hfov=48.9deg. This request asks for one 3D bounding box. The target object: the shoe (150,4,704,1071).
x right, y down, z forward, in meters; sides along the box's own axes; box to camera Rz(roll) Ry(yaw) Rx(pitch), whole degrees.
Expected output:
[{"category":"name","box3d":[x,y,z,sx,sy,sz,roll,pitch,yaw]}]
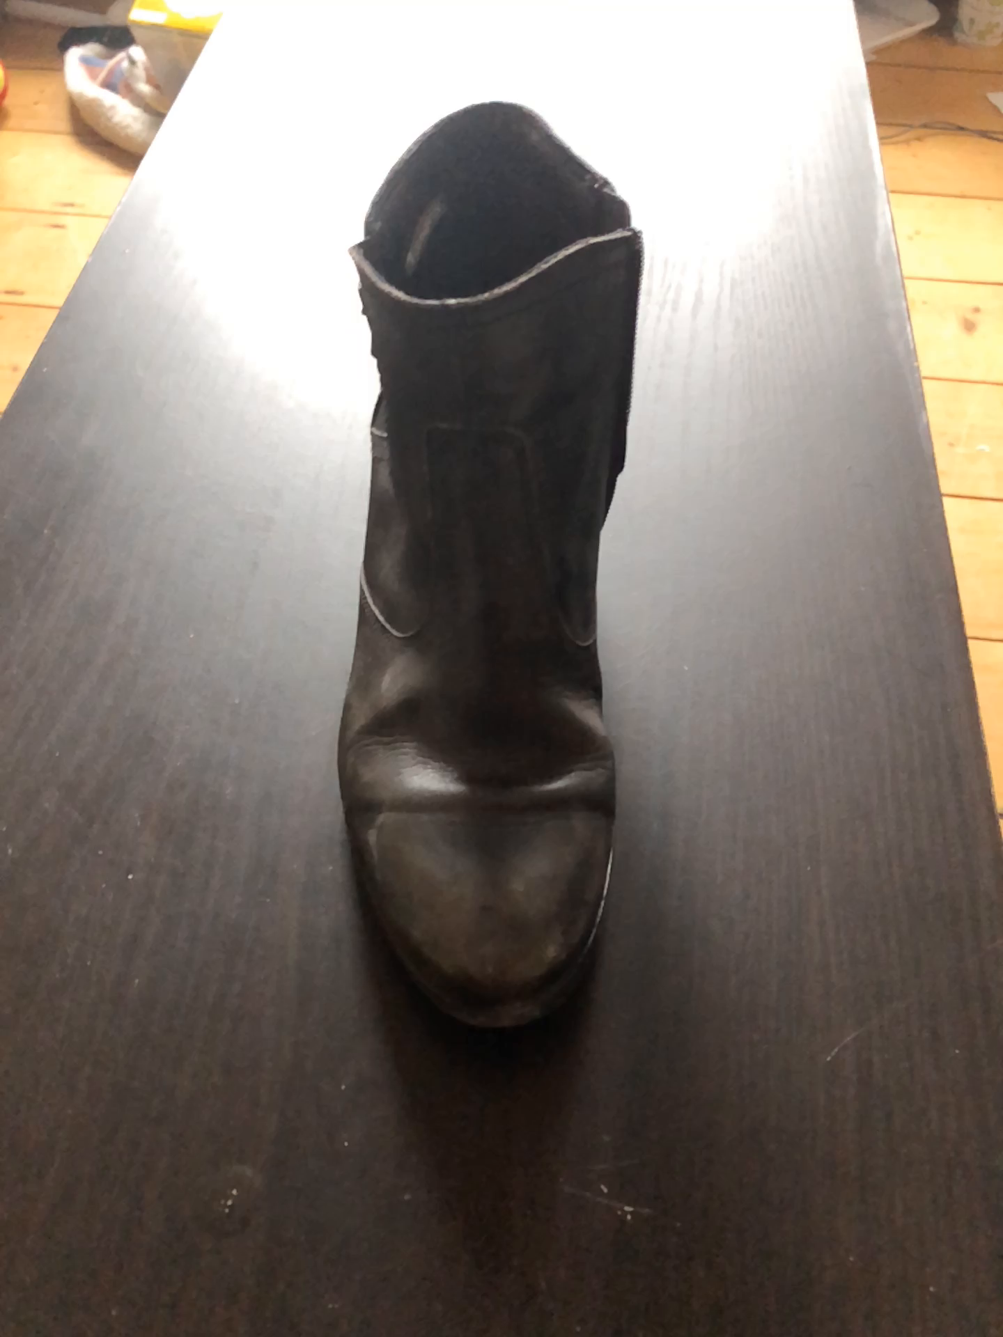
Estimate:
[{"category":"shoe","box3d":[-0.009,-0.045,0.328,0.090,0.169,0.271,1,54,1]}]
